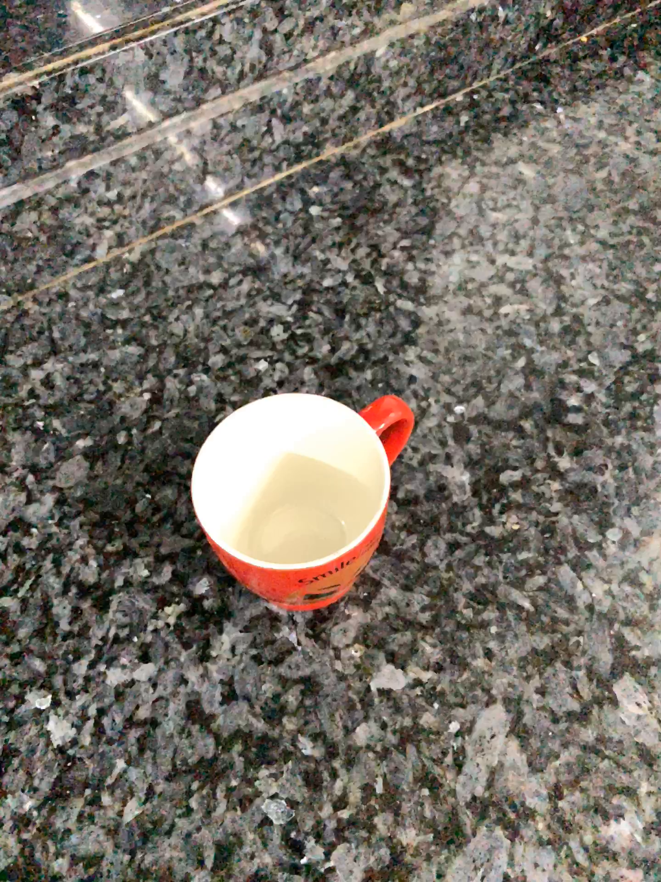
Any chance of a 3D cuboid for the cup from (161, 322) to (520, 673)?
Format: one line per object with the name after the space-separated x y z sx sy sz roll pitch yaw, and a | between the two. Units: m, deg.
0.005 0.023 0.277 0.110 0.070 0.070 -34 64 -17 | cup
